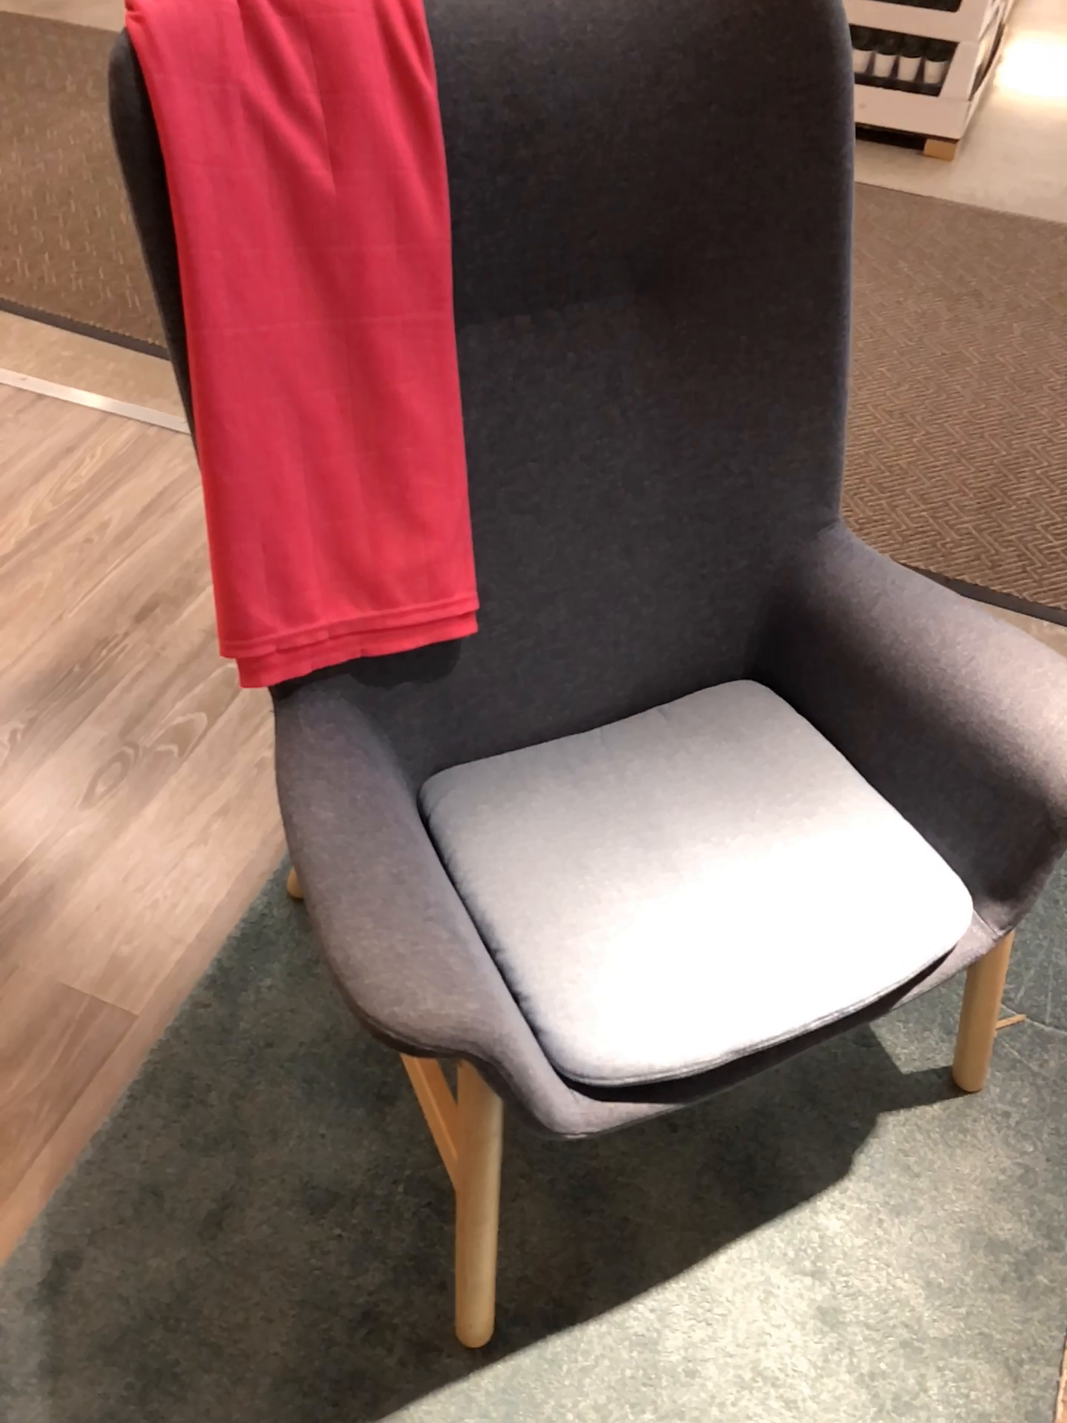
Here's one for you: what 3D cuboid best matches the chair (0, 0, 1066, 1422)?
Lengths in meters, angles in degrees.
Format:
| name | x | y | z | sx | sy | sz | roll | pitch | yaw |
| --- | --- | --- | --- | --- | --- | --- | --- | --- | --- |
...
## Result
| name | x | y | z | sx | sy | sz | roll | pitch | yaw |
| --- | --- | --- | --- | --- | --- | --- | --- | --- | --- |
| chair | 0.127 | -0.036 | 1.027 | 0.791 | 0.996 | 0.702 | -19 | 50 | -18 |
